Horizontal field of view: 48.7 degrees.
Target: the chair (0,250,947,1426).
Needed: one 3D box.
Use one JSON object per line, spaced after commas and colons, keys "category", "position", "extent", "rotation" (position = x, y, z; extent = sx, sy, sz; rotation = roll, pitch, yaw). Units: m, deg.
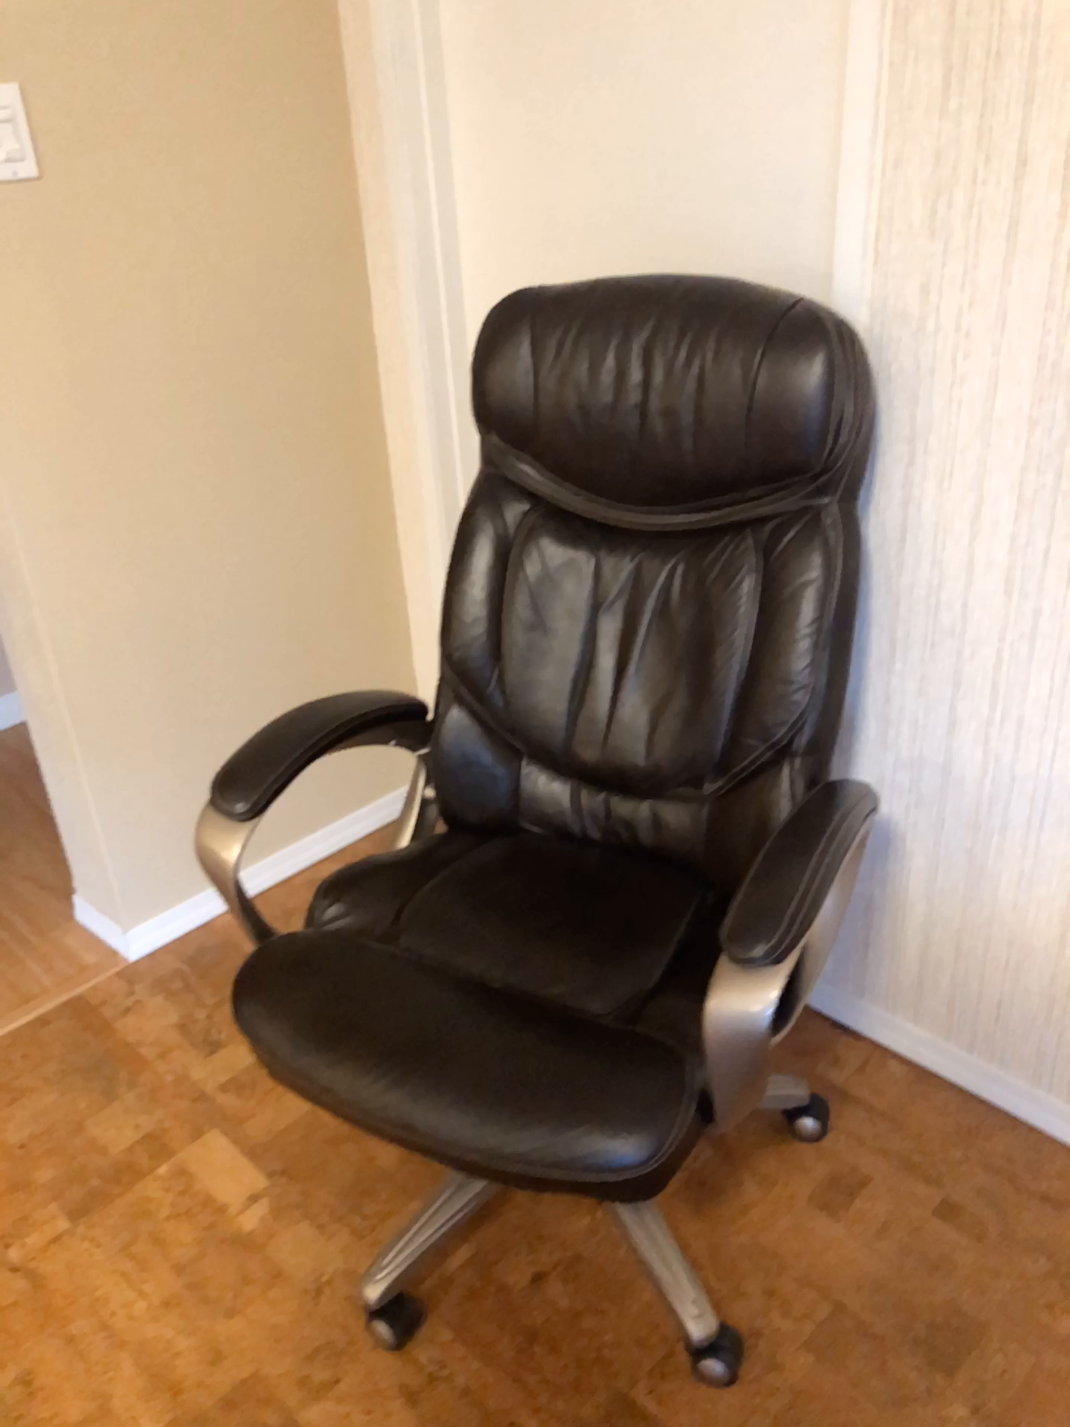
{"category": "chair", "position": [-0.011, 0.114, 1.301], "extent": [0.691, 1.086, 0.652], "rotation": [10, 31, 24]}
